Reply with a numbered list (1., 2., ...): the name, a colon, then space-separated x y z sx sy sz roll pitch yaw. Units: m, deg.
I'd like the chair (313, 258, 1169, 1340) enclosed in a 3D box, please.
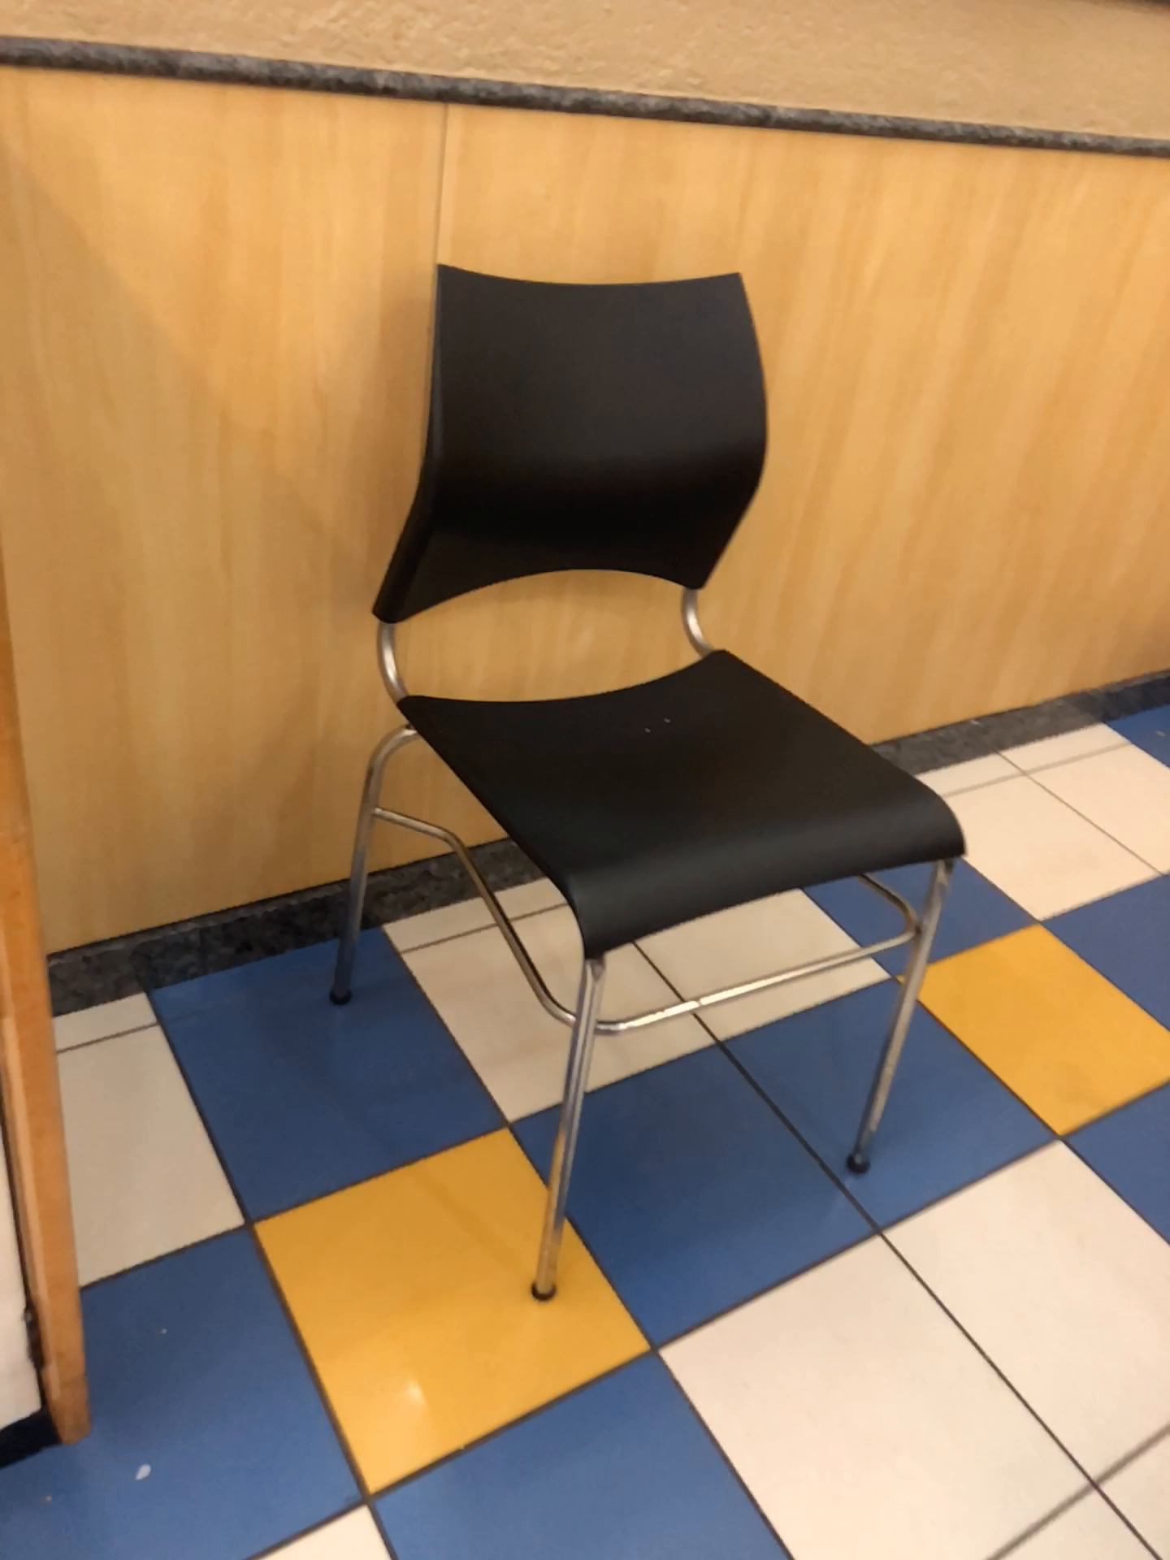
1. chair: 0.068 -0.004 1.328 0.512 0.873 0.552 -11 39 -28
